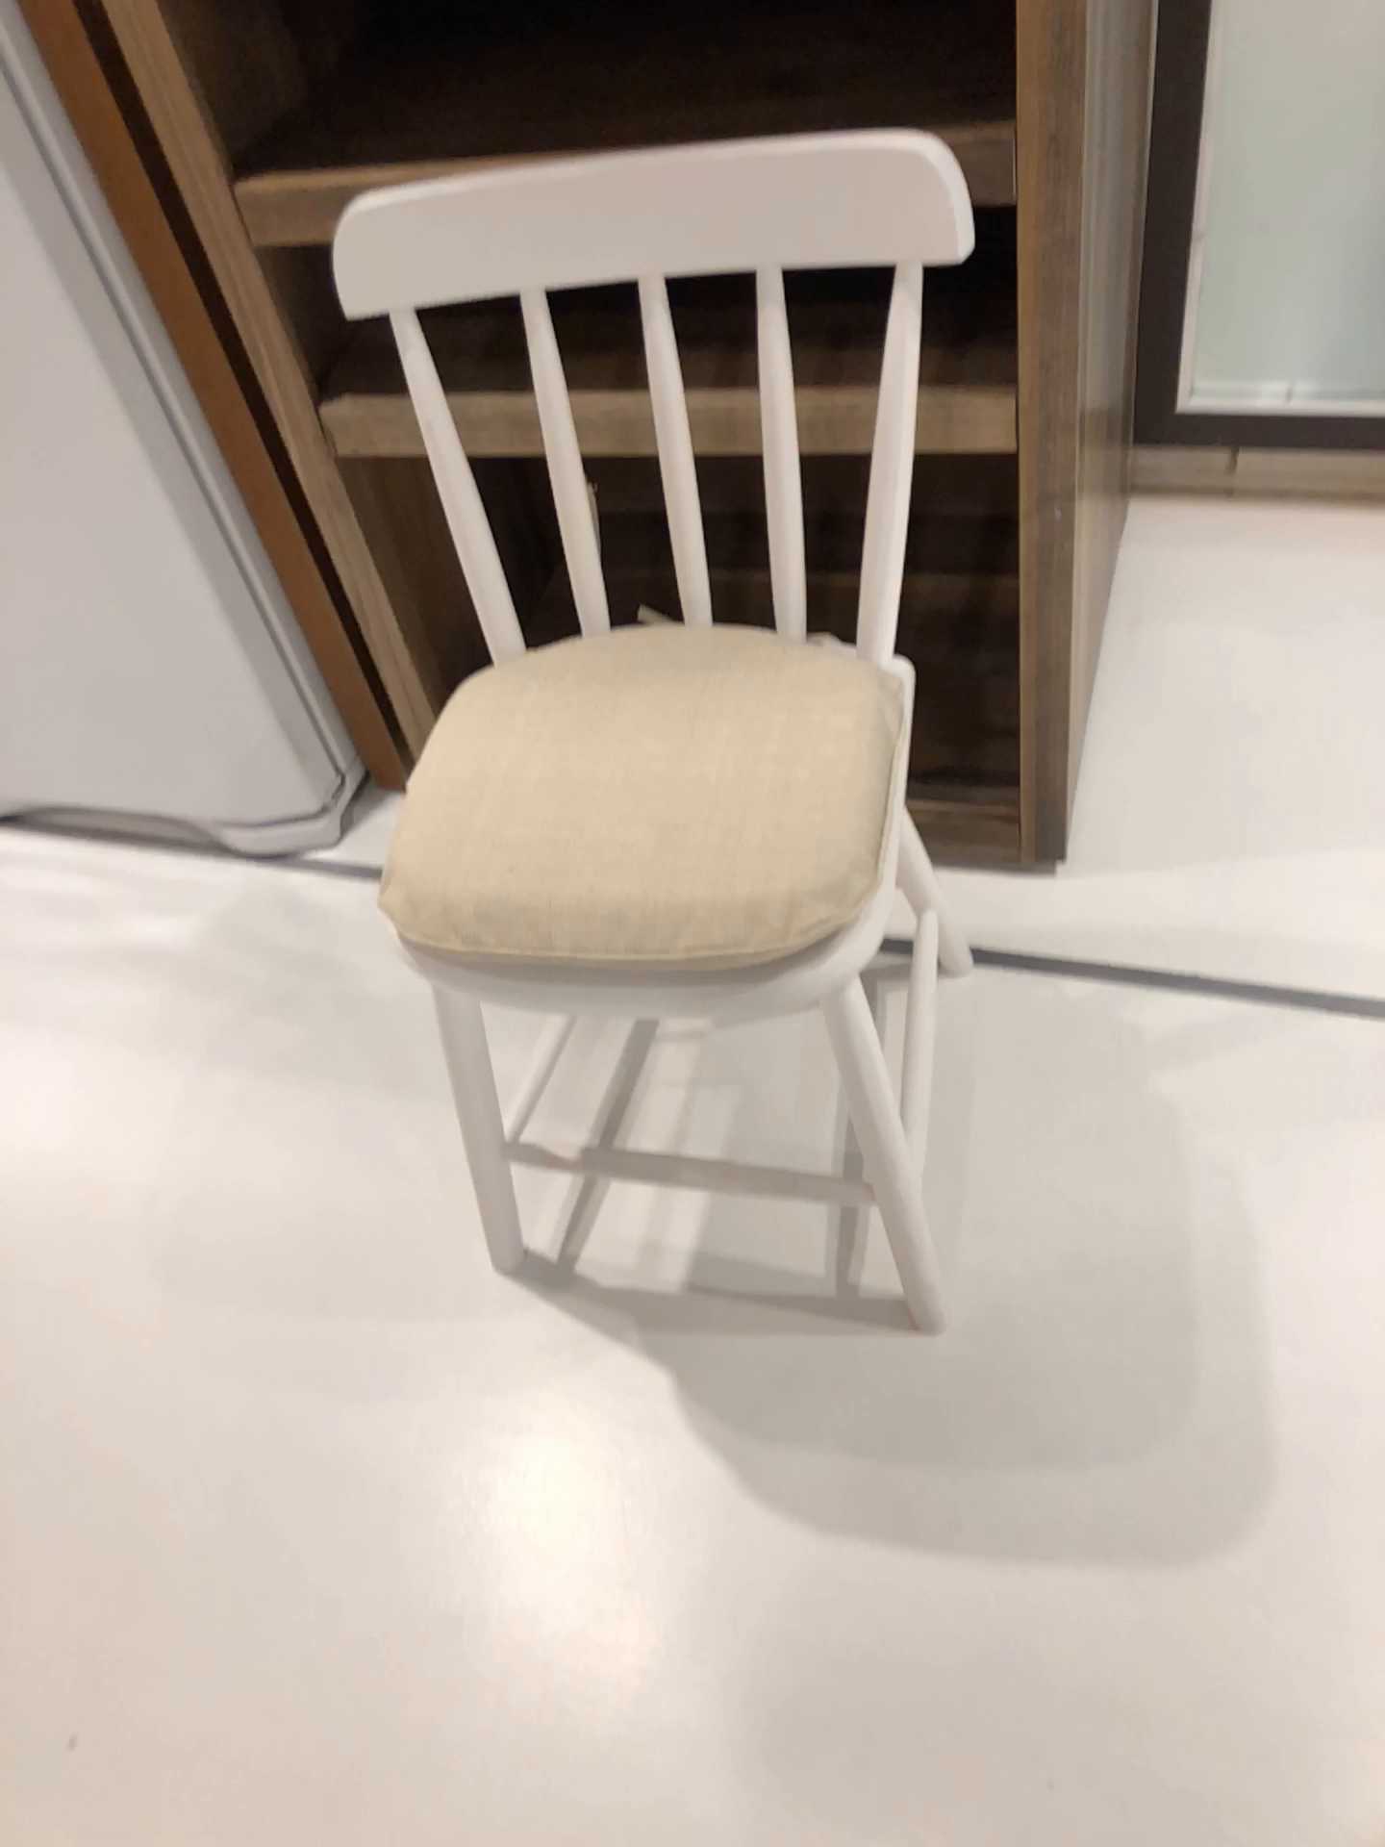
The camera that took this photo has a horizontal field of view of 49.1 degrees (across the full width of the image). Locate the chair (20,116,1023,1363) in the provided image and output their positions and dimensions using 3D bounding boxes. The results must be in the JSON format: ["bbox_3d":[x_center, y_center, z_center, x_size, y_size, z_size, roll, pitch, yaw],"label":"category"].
[{"bbox_3d":[-0.008,-0.096,1.116,0.450,0.726,0.483,4,50,16],"label":"chair"}]
